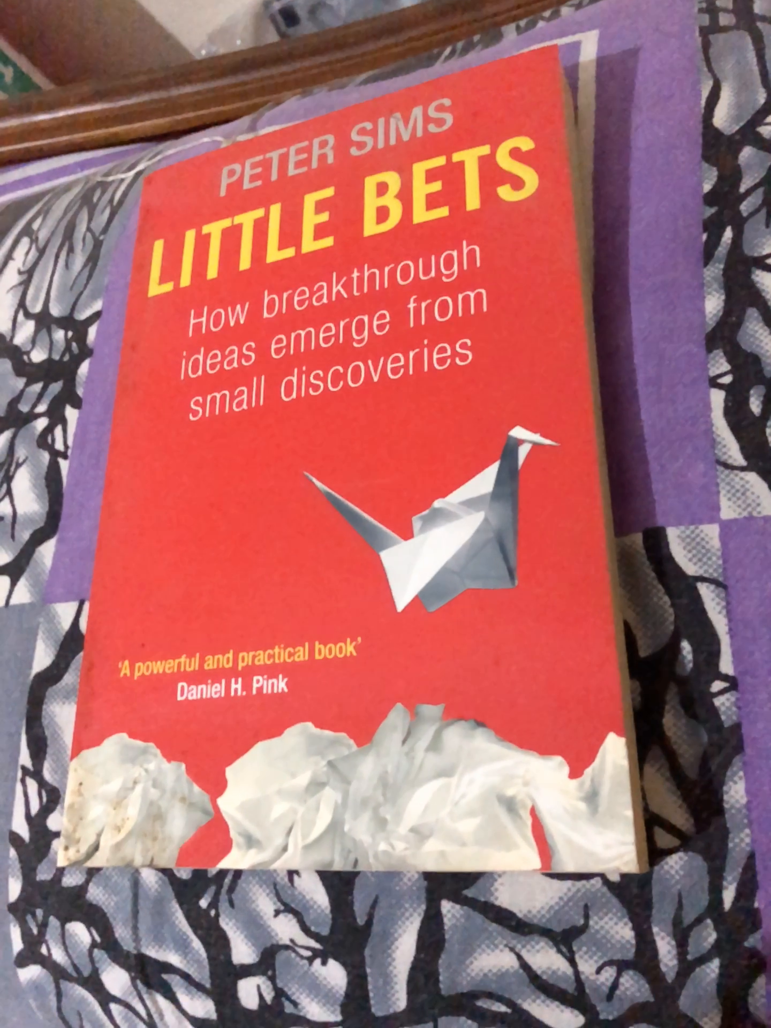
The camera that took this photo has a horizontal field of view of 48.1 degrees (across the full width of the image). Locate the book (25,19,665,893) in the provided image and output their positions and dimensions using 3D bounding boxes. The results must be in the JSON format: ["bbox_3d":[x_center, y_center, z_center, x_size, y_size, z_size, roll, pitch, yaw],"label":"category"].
[{"bbox_3d":[-0.015,-0.024,0.245,0.150,0.020,0.240,-10,63,22],"label":"book"}]
